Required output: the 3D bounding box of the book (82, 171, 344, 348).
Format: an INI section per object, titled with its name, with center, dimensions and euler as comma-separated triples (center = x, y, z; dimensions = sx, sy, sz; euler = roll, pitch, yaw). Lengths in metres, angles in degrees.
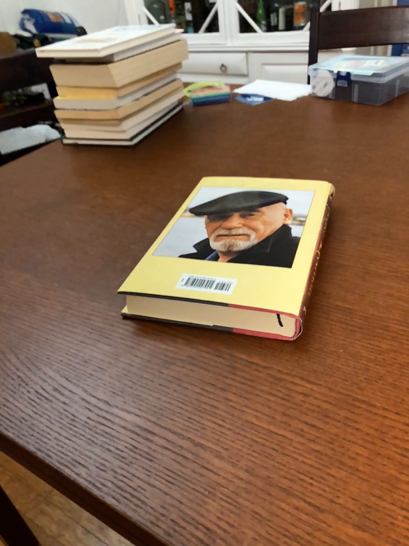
[book]
center = 0.028, -0.037, 0.453
dimensions = 0.190, 0.030, 0.251
euler = 6, 36, 19
